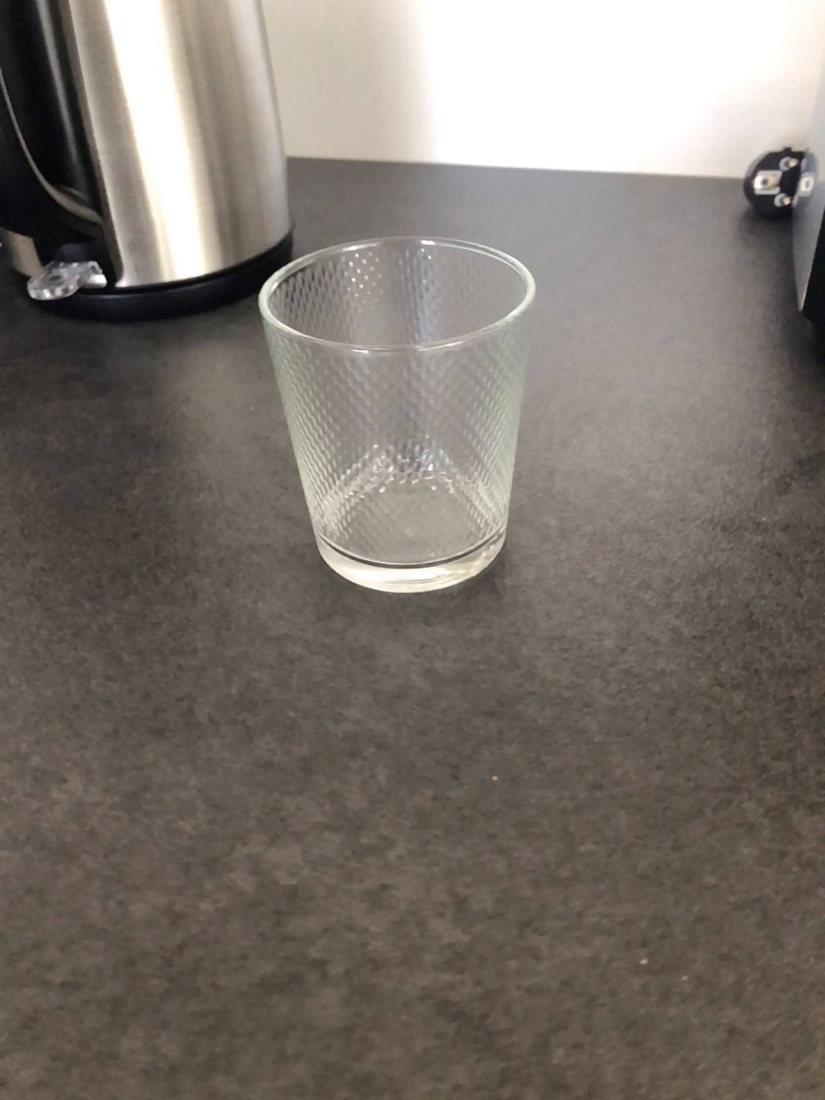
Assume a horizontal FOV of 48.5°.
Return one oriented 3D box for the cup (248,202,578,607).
[{"bbox_3d":[0.000,-0.046,0.281,0.080,0.089,0.080,-2,38,2],"label":"cup"}]
